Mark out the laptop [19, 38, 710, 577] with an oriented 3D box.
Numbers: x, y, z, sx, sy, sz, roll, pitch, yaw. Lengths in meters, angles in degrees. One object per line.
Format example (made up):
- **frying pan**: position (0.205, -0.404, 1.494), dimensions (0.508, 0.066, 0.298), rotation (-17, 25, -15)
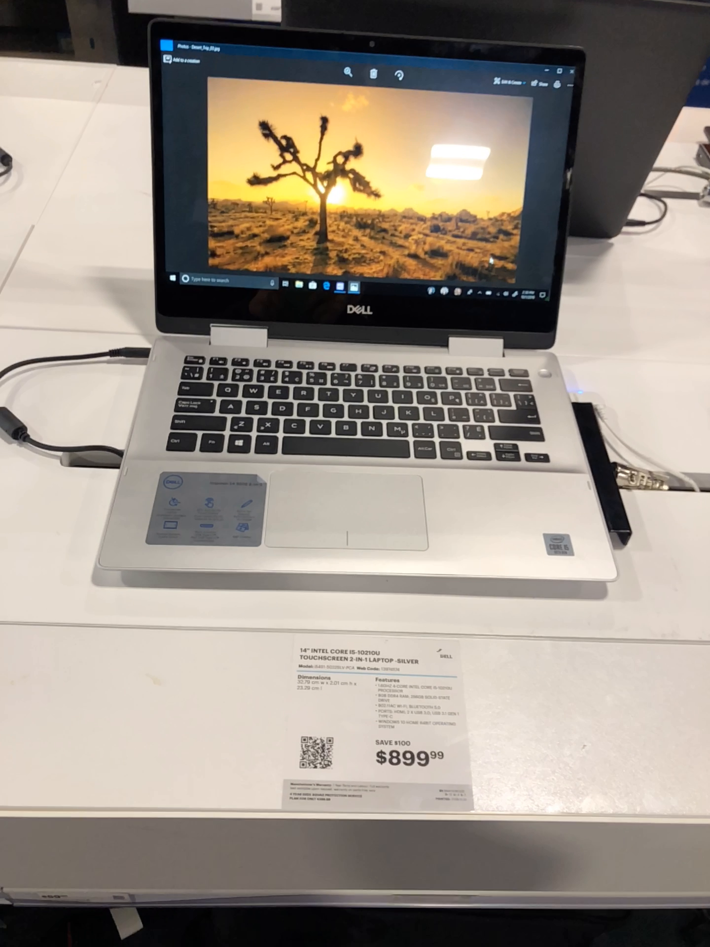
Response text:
- **laptop**: position (0.004, -0.126, 0.521), dimensions (0.311, 0.195, 0.328), rotation (2, 46, -1)
